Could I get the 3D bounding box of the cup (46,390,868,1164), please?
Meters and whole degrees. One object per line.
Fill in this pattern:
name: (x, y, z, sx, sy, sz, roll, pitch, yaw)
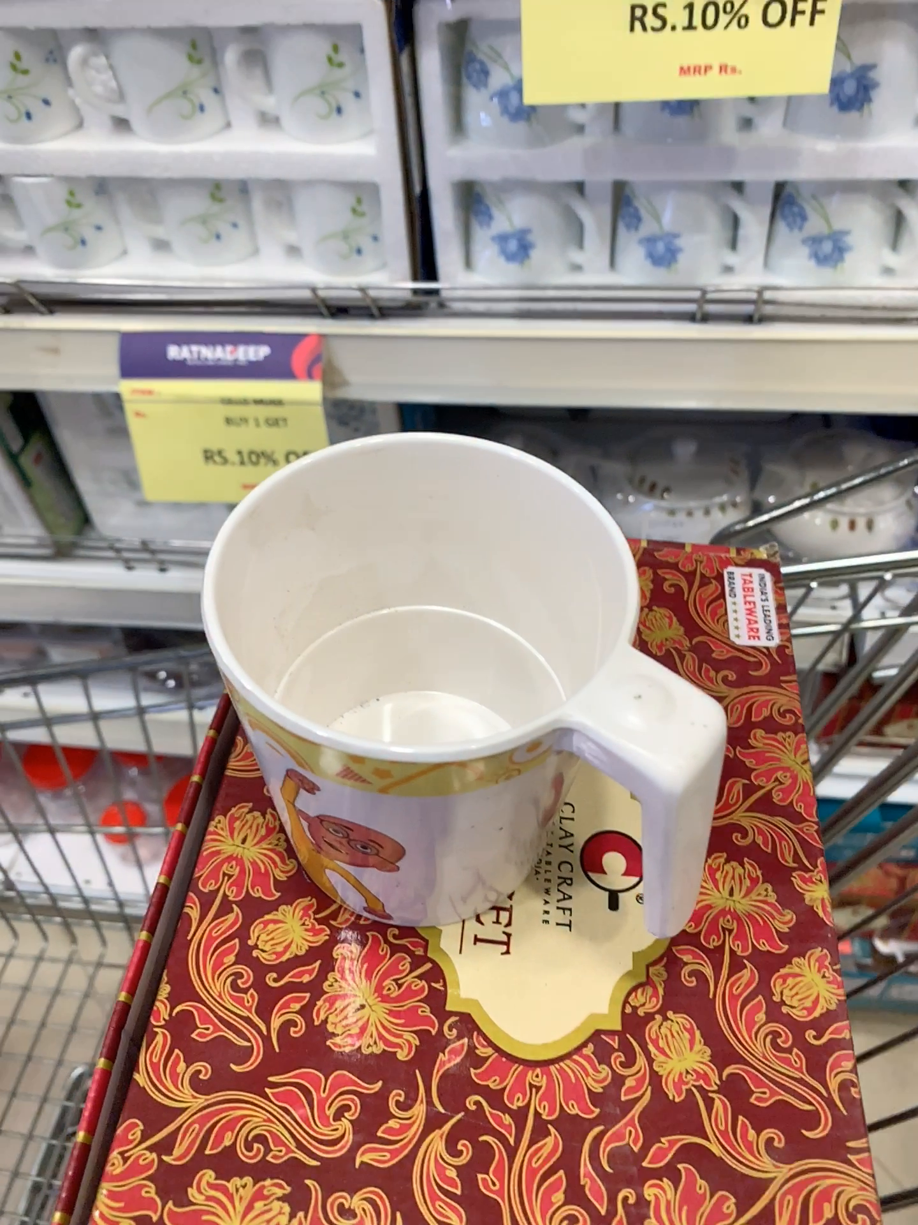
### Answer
cup: (0.000, 0.028, 0.189, 0.110, 0.080, 0.080, 27, 56, 22)
